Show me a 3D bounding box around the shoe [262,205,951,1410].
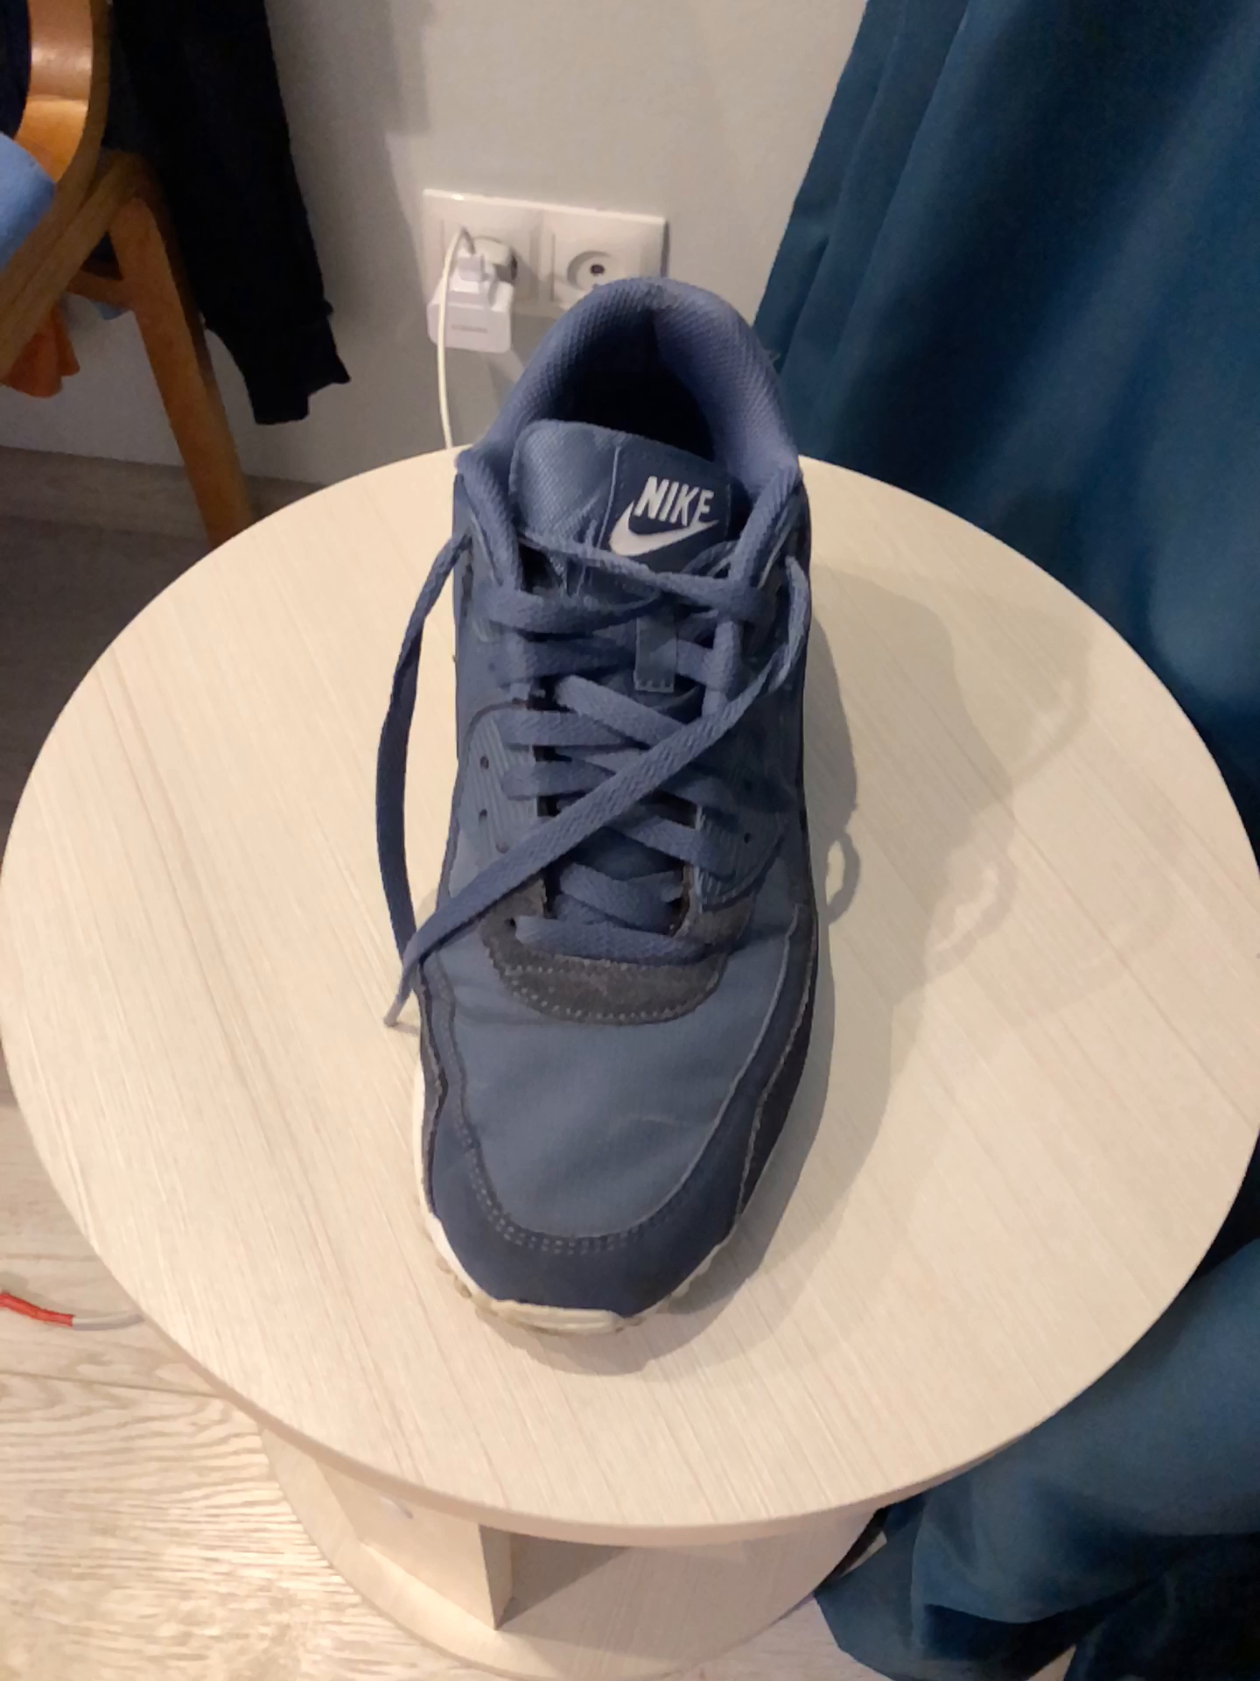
[{"bbox_3d":[0.003,-0.024,0.346,0.110,0.109,0.282,6,55,-1],"label":"shoe"}]
